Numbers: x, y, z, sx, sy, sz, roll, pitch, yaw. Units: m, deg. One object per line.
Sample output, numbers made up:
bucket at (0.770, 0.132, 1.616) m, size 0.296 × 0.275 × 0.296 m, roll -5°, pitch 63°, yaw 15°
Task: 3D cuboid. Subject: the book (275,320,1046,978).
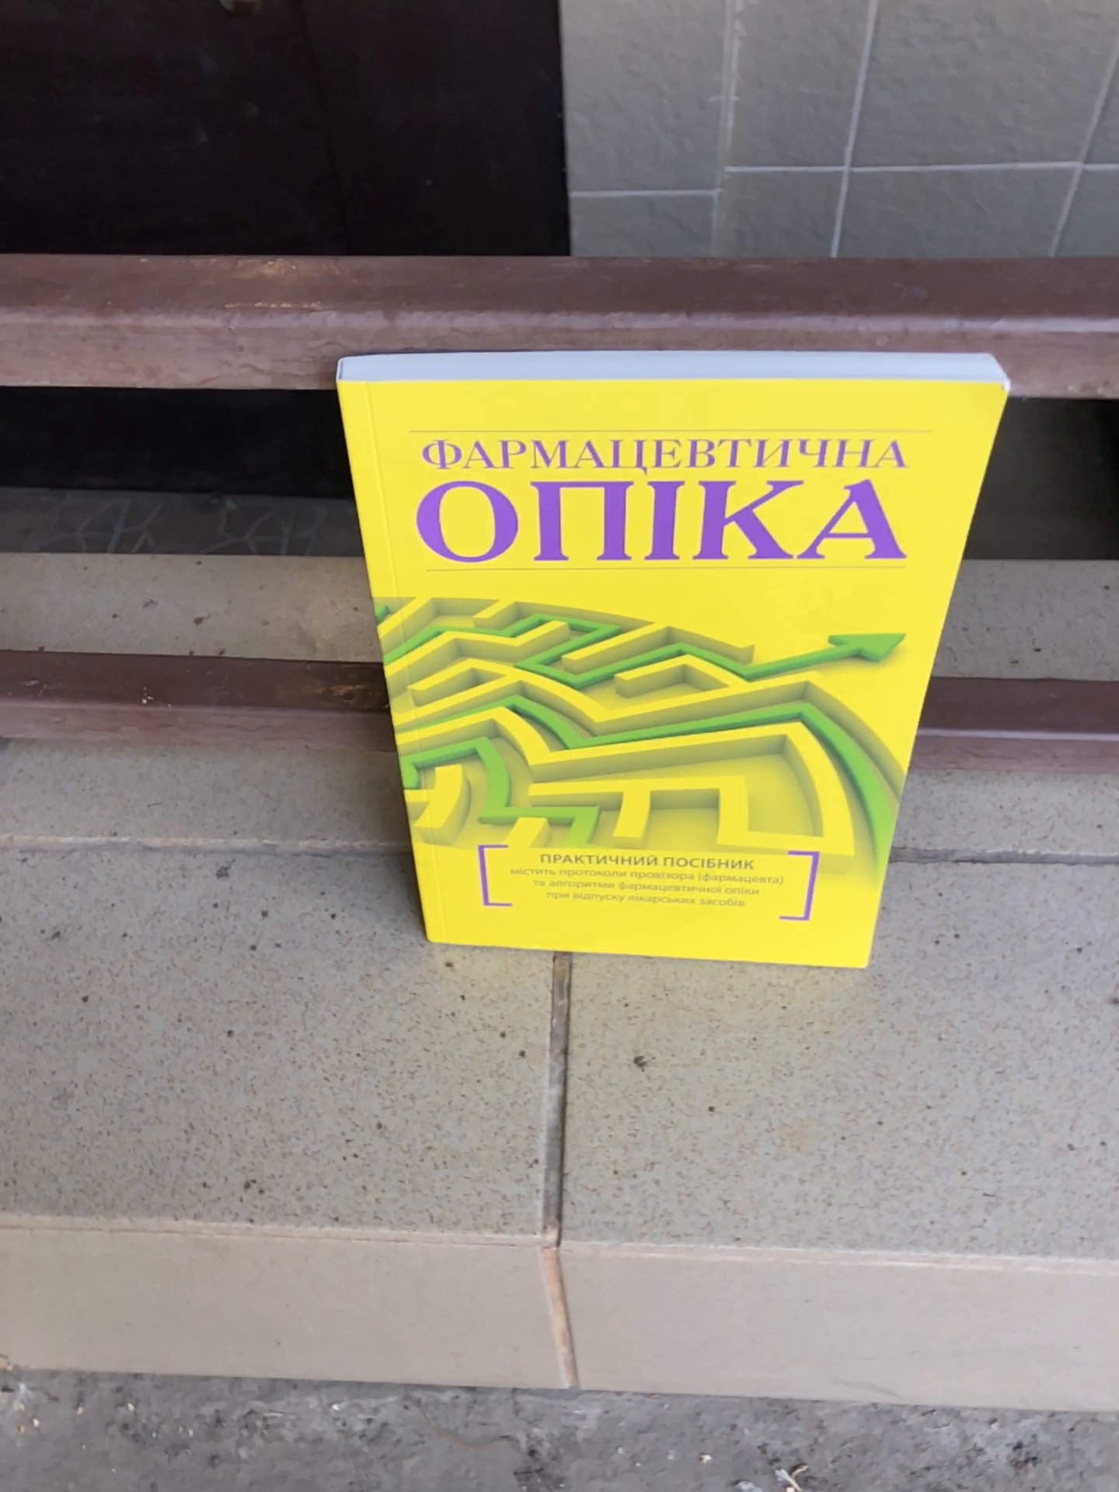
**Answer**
book at (0.026, -0.012, 0.385) m, size 0.180 × 0.239 × 0.030 m, roll 2°, pitch 46°, yaw 4°
